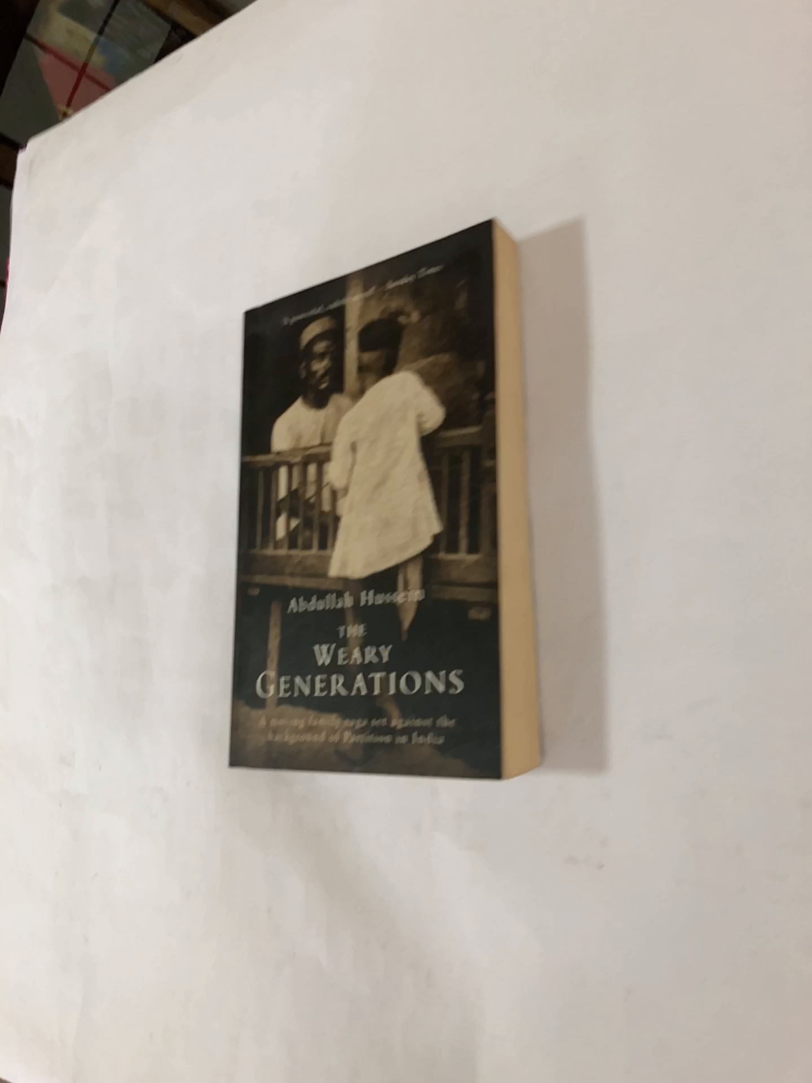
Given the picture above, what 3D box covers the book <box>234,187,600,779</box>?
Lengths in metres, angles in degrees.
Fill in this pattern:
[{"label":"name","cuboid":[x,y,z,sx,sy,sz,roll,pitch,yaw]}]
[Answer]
[{"label":"book","cuboid":[-0.002,-0.015,0.345,0.141,0.030,0.200,-9,75,36]}]
